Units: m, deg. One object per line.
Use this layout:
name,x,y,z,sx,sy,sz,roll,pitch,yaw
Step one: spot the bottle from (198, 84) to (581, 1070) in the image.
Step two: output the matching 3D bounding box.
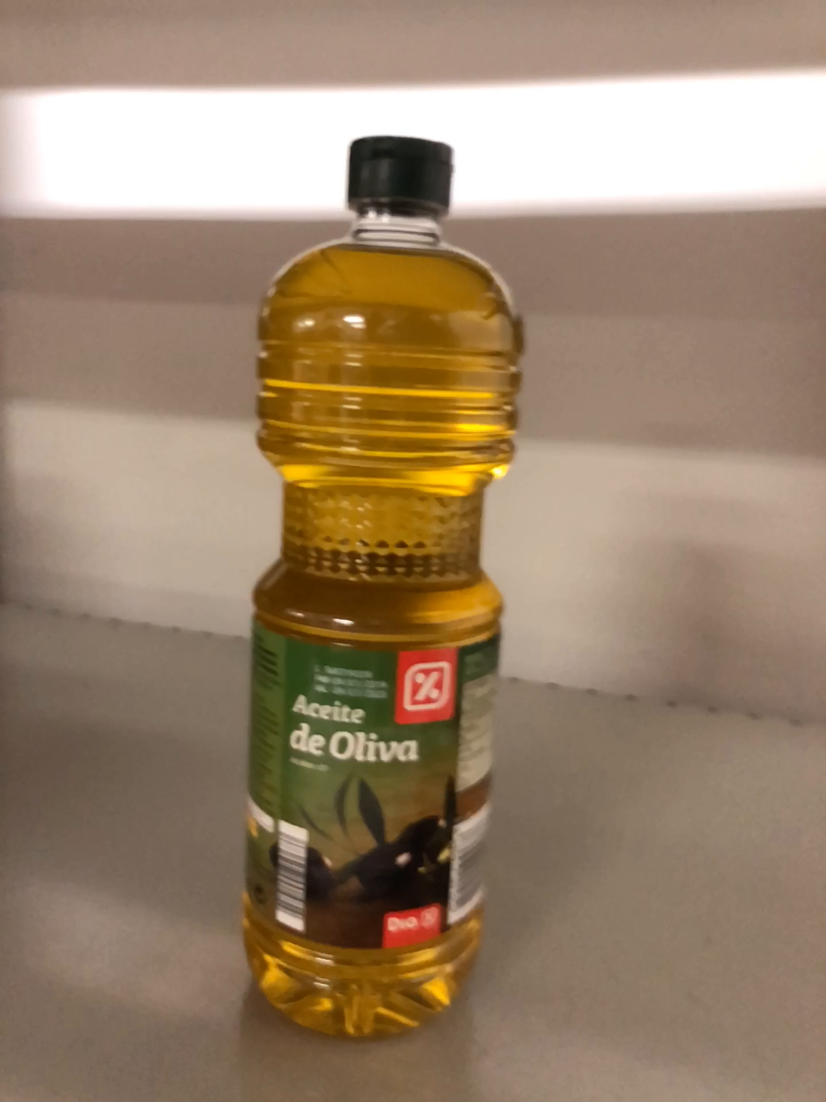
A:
bottle,-0.012,0.015,0.261,0.080,0.249,0.060,3,13,-3
